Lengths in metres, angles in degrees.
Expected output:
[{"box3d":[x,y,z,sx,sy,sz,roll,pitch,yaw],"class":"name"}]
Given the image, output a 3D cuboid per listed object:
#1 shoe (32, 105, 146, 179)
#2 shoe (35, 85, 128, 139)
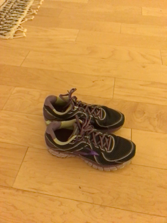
[{"box3d":[0.019,0.081,0.514,0.280,0.079,0.121,12,52,10],"class":"shoe"},{"box3d":[-0.001,-0.002,0.590,0.270,0.079,0.121,6,51,6],"class":"shoe"}]
